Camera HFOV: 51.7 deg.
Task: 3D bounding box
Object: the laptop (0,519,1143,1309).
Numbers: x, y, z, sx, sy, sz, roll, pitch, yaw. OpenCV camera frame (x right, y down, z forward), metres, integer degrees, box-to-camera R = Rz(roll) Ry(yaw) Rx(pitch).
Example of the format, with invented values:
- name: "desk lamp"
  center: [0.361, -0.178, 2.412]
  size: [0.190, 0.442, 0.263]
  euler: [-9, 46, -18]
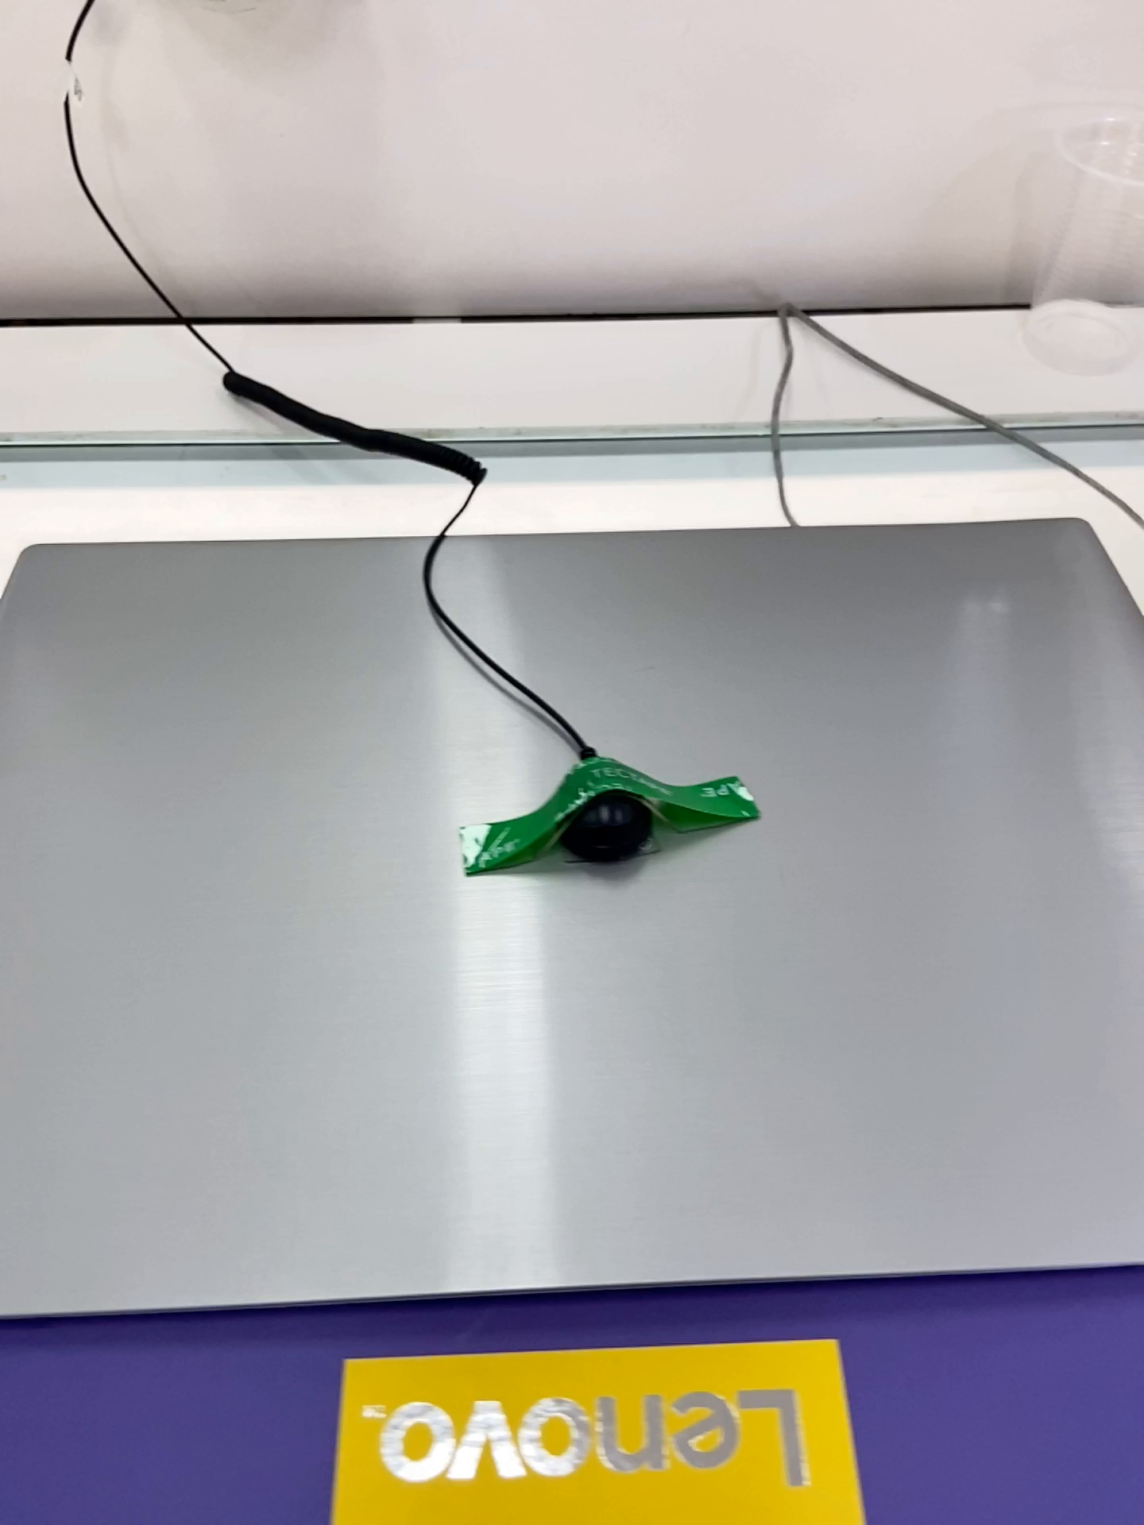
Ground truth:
- name: "laptop"
  center: [0.000, 0.015, 0.327]
  size: [0.362, 0.001, 0.241]
  euler: [-2, 50, -1]
